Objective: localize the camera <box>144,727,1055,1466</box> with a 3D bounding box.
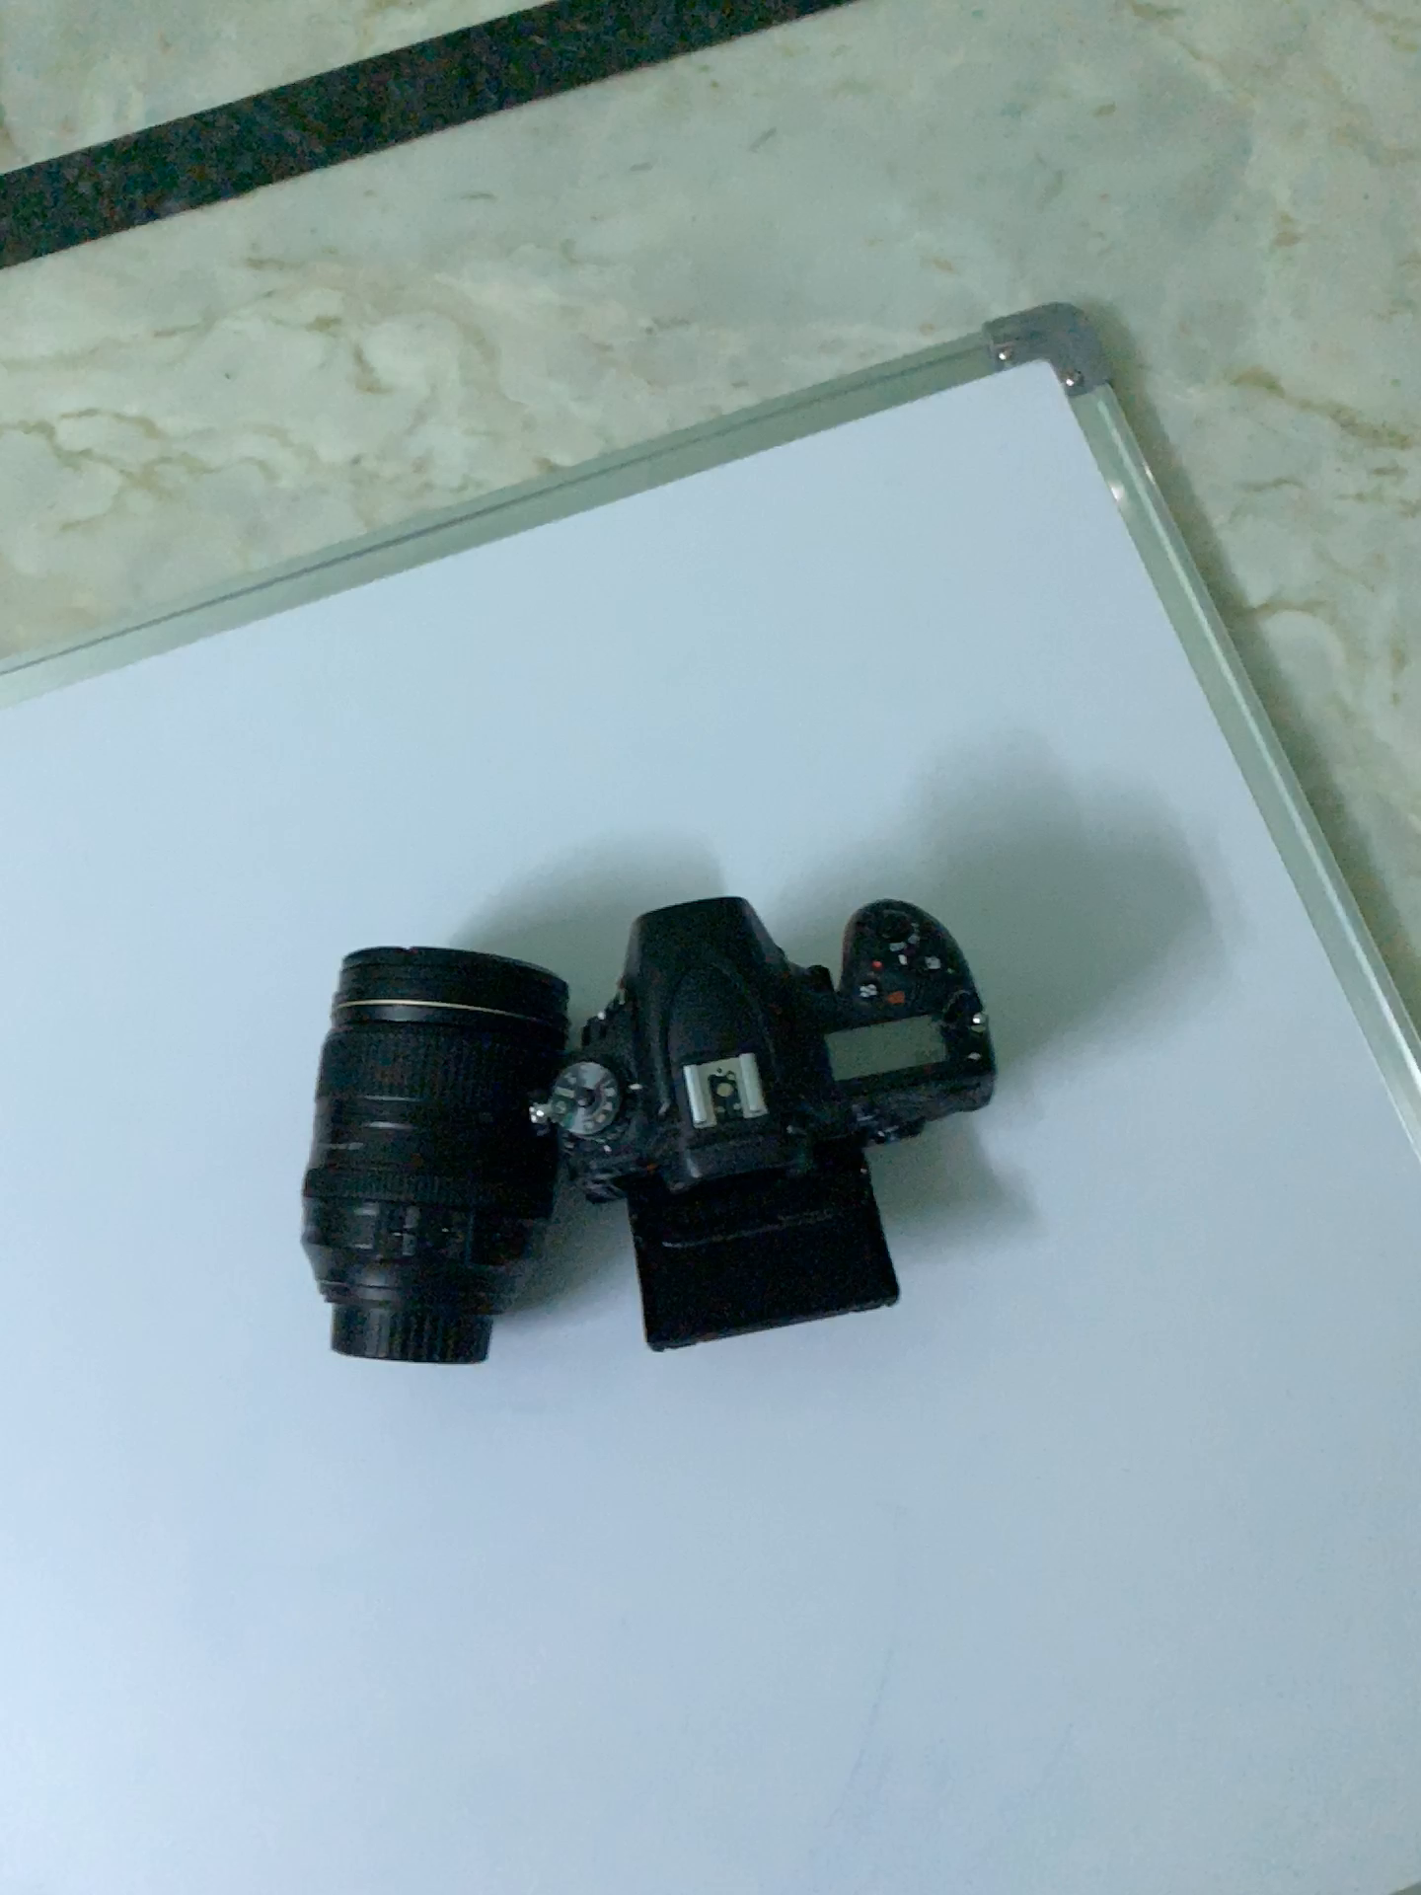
[{"bbox_3d":[-0.036,0.051,0.484,0.240,0.100,0.160,-16,76,-1],"label":"camera"}]
